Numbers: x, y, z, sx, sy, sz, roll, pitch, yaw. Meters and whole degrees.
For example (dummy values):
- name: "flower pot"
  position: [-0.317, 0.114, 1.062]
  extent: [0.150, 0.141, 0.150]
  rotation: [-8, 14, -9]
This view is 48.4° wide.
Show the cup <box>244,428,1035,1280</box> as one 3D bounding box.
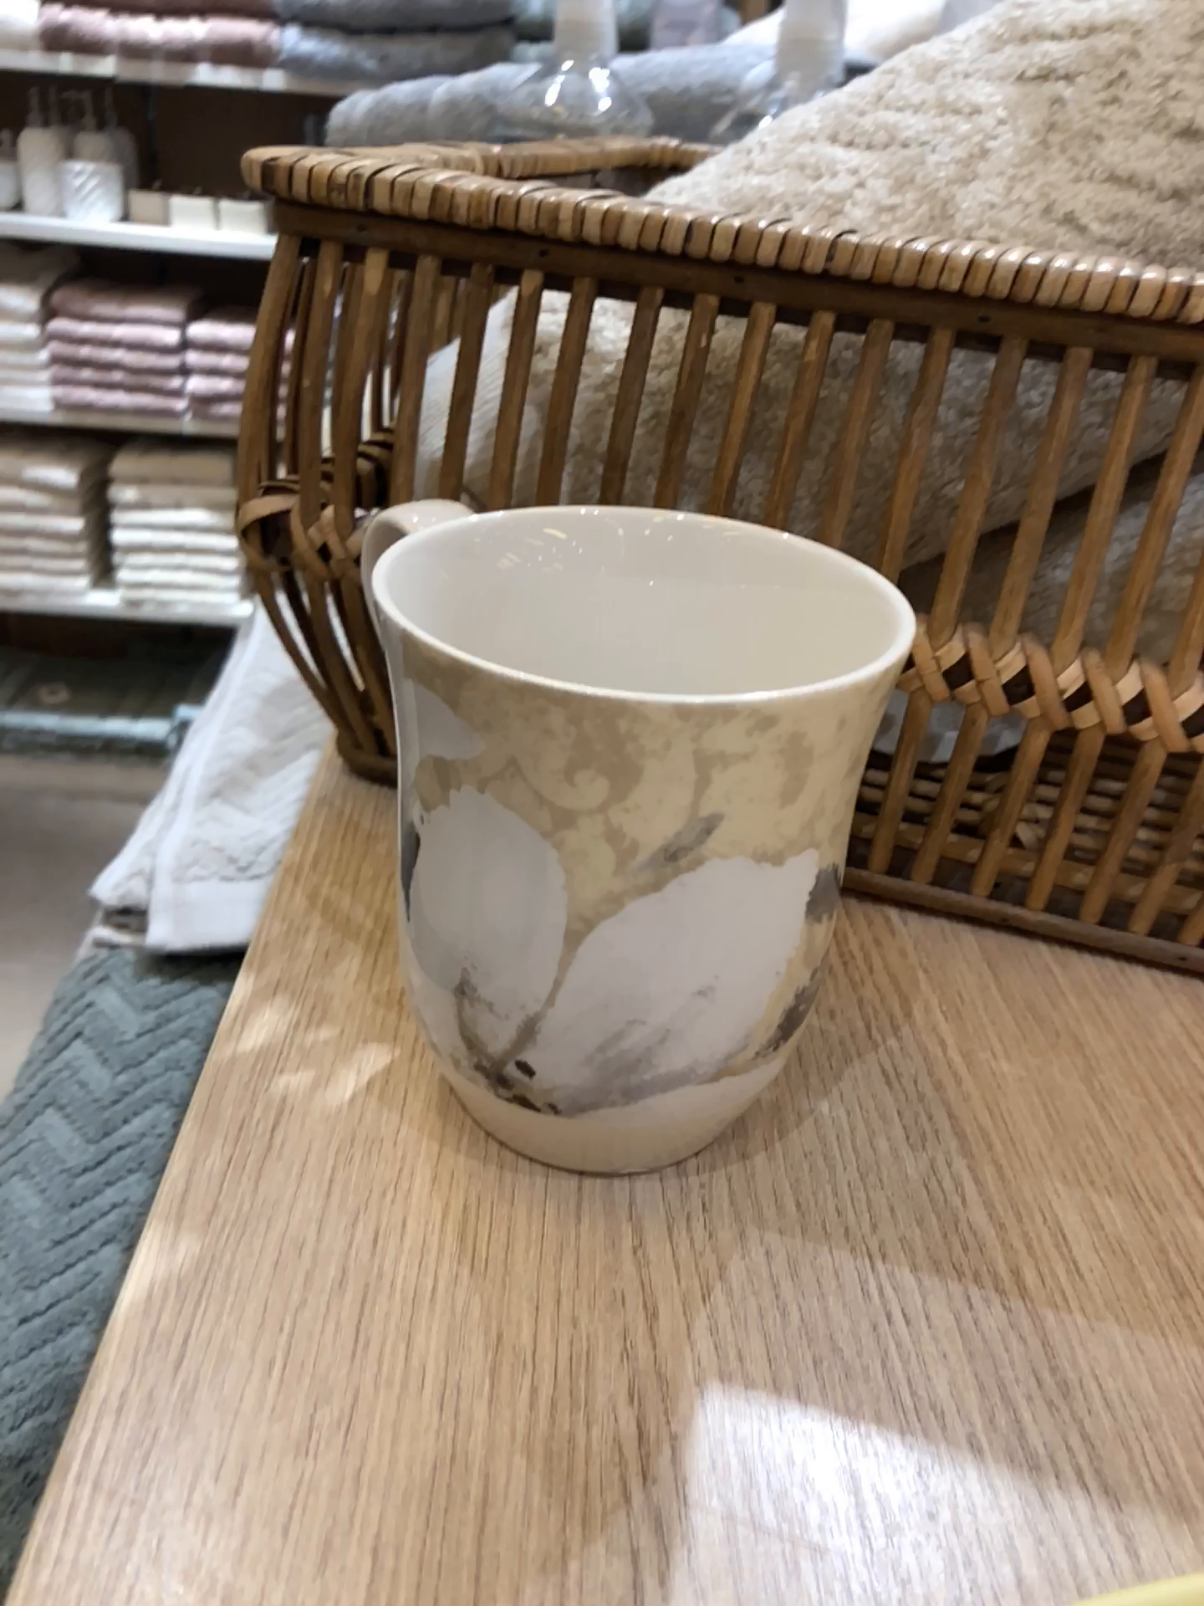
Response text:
- name: "cup"
  position: [-0.007, -0.005, 0.260]
  extent: [0.090, 0.099, 0.131]
  rotation: [-9, 32, -25]
